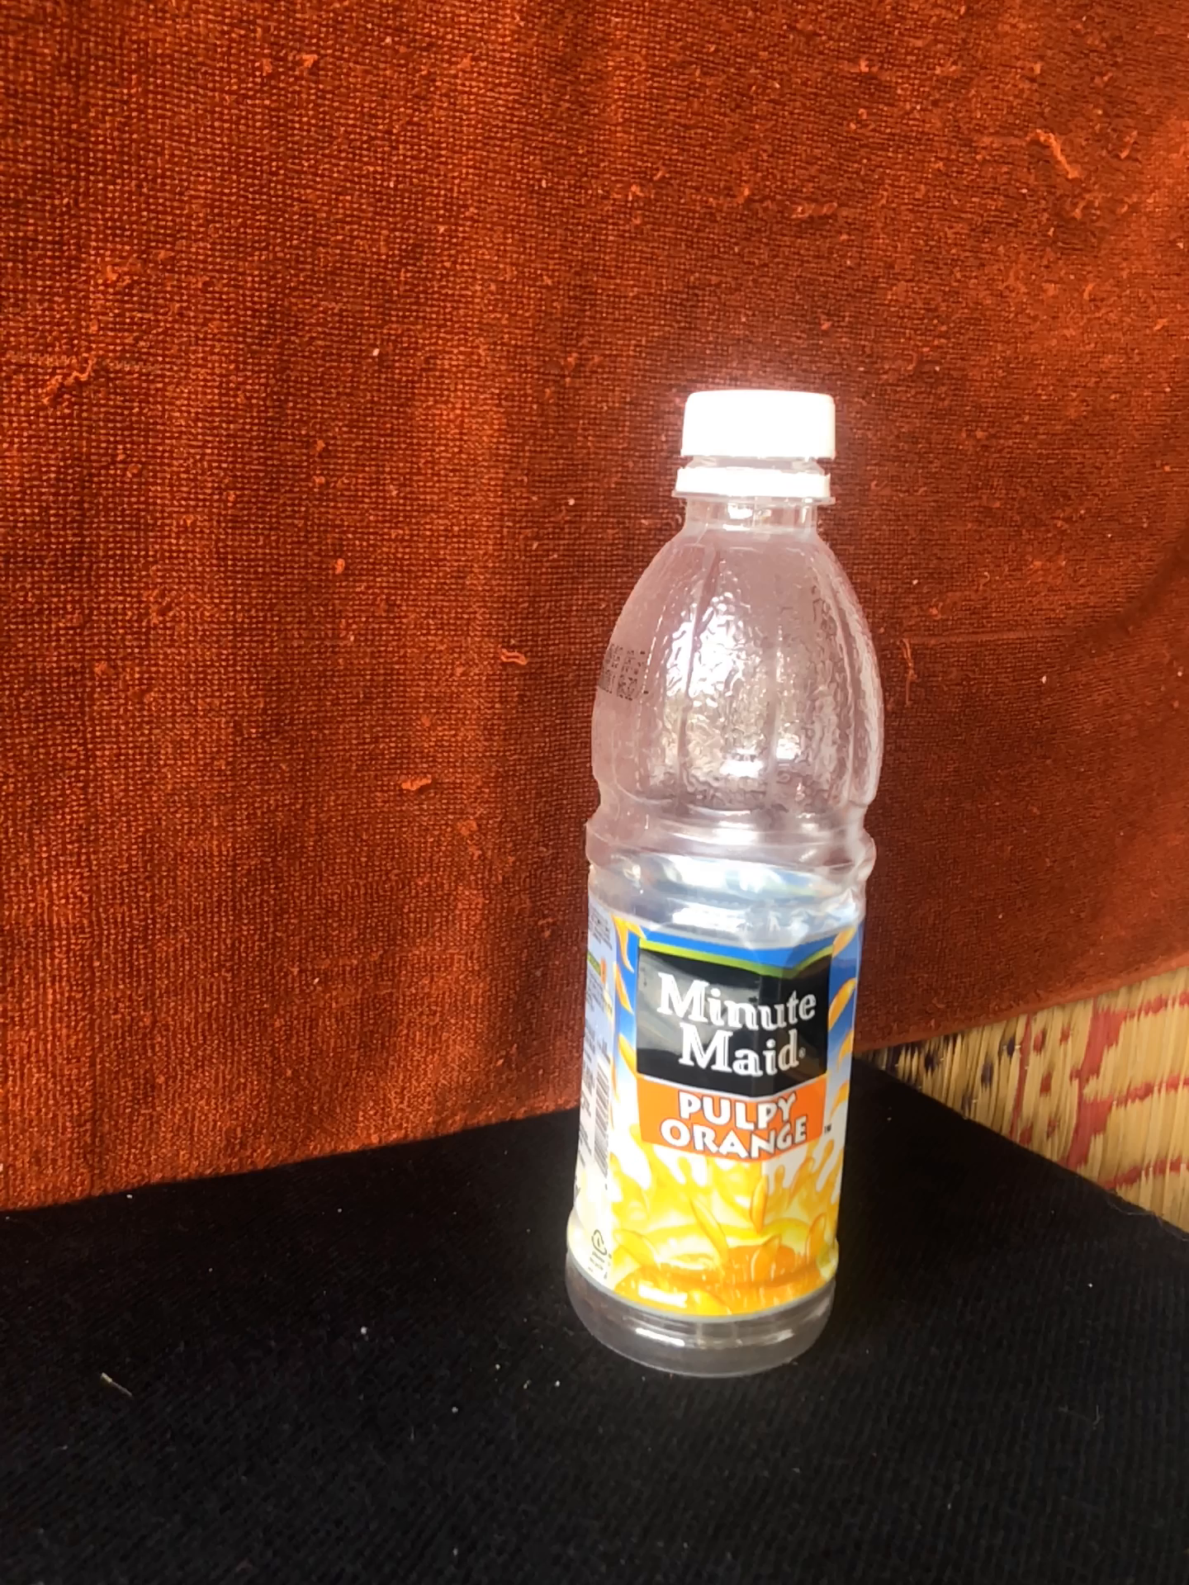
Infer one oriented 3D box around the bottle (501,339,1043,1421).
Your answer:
[{"bbox_3d":[0.028,0.017,0.276,0.070,0.199,0.070,5,11,-1],"label":"bottle"}]
